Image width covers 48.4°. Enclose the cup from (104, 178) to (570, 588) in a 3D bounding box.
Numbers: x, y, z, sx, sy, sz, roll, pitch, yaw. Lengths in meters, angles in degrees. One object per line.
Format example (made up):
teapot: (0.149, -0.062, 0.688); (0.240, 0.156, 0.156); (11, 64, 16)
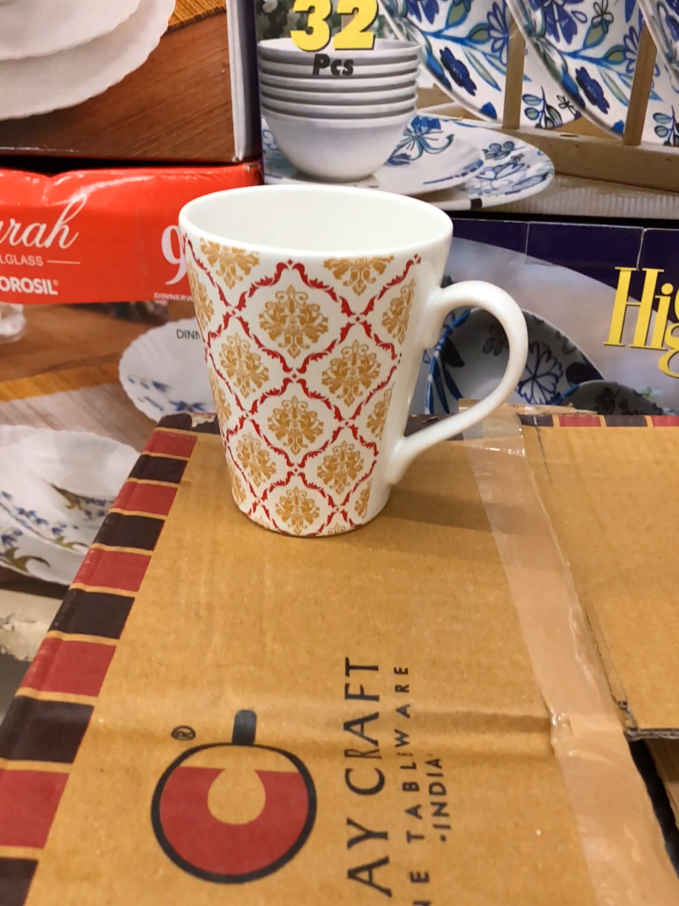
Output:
cup: (0.004, -0.033, 0.244); (0.110, 0.089, 0.091); (12, 29, 22)
